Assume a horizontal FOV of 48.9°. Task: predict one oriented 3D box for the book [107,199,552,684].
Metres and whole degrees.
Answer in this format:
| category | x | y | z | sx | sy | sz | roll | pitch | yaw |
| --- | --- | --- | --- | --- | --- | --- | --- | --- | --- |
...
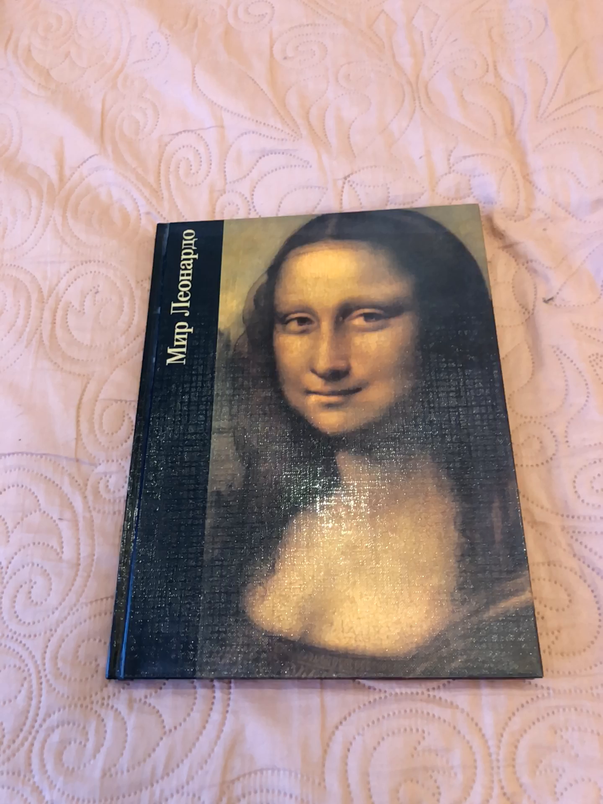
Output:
| category | x | y | z | sx | sy | sz | roll | pitch | yaw |
| --- | --- | --- | --- | --- | --- | --- | --- | --- | --- |
| book | 0.010 | 0.011 | 0.379 | 0.210 | 0.030 | 0.273 | -2 | 68 | 4 |
